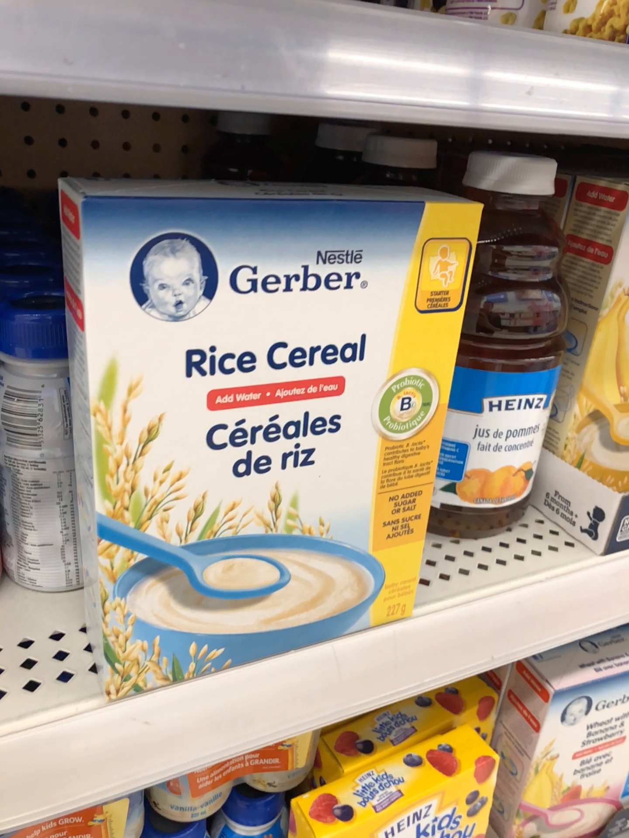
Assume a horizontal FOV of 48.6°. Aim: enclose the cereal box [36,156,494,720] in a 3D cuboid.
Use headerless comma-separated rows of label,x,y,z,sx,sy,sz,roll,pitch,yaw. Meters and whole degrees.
cereal box,-0.024,0.005,0.286,0.150,0.199,0.060,-7,27,-27
